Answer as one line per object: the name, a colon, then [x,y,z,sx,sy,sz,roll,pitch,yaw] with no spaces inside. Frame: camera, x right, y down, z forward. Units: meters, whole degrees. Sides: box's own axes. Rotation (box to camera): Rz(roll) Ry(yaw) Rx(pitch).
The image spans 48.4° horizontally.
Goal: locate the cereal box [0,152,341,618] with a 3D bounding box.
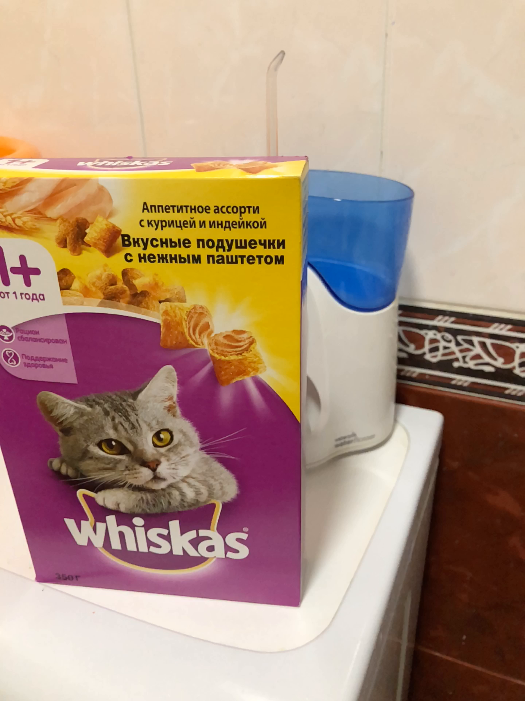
cereal box: [-0.041,0.026,0.273,0.150,0.219,0.040,1,27,8]
